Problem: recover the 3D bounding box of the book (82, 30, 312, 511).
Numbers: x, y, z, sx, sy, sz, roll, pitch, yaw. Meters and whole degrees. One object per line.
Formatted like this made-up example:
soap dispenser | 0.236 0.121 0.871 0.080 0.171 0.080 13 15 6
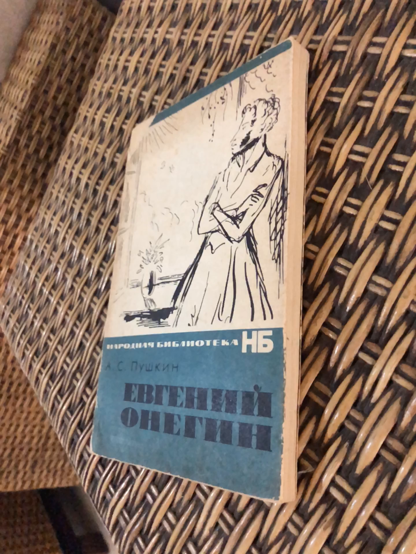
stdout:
book | -0.009 -0.005 0.226 0.121 0.020 0.190 -9 71 45
